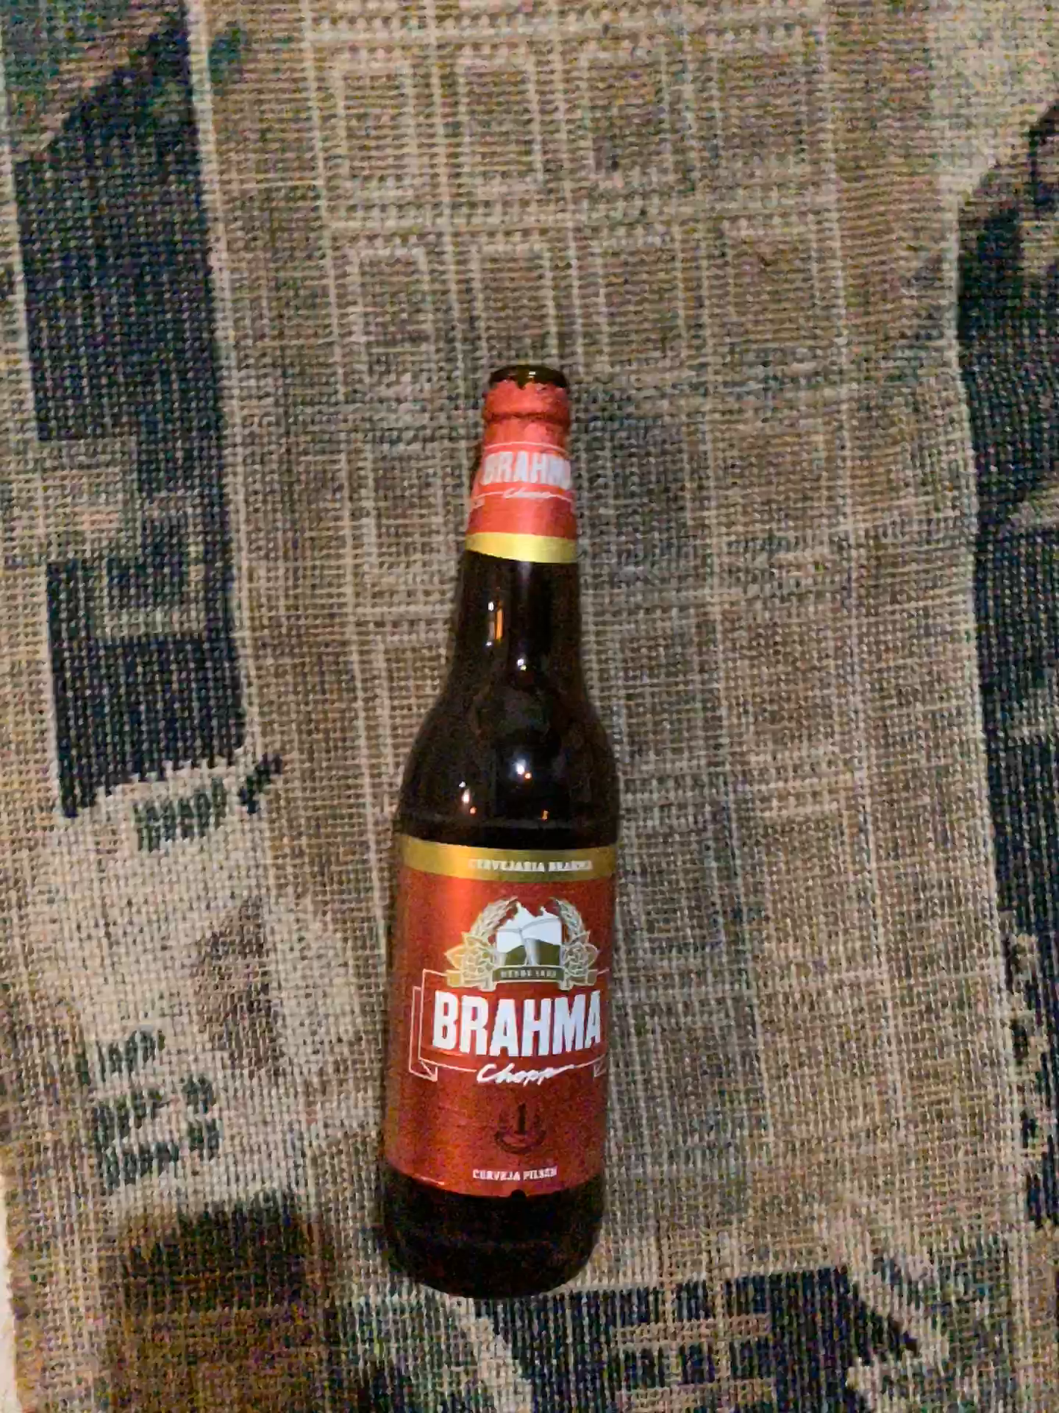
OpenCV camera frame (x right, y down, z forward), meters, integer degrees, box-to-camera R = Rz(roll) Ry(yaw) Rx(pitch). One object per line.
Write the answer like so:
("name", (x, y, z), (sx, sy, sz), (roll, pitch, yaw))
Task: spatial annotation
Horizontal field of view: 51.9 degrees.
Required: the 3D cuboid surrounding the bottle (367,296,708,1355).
("bottle", (-0.001, 0.033, 0.322), (0.080, 0.060, 0.280), (2, 90, -7))
